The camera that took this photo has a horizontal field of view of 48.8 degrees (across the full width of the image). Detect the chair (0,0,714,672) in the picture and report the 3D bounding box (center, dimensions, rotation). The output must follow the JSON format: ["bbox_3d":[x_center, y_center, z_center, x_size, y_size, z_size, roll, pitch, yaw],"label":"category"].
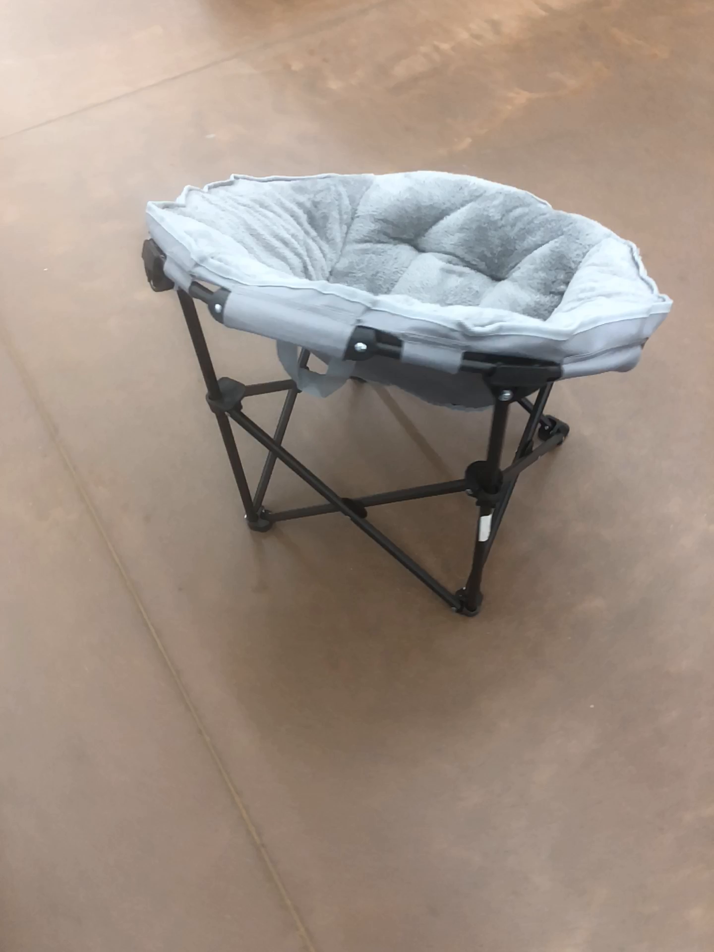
[{"bbox_3d":[0.053,-0.229,1.031,0.570,0.529,0.631,19,58,16],"label":"chair"}]
